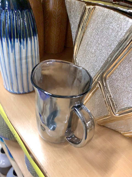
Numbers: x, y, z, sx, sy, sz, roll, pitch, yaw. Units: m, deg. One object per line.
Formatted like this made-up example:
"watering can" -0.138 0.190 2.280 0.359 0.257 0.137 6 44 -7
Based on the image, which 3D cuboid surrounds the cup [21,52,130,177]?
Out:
"cup" 0.000 0.030 0.190 0.070 0.110 0.110 -23 49 -32
